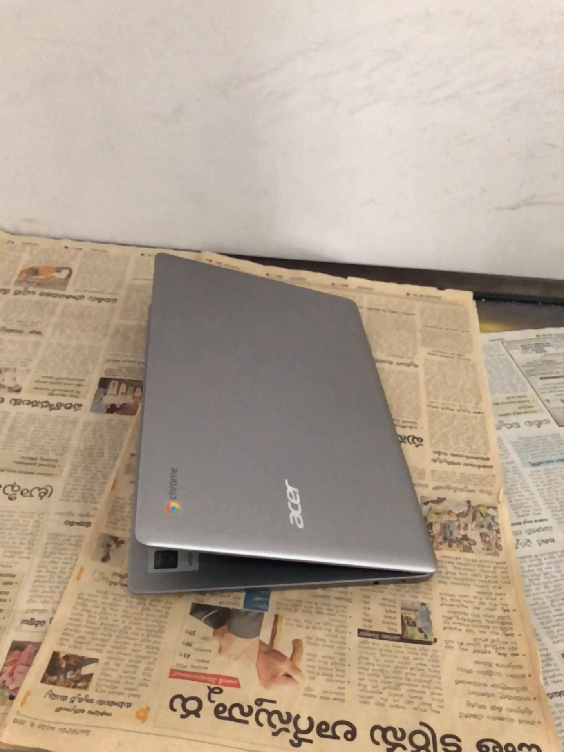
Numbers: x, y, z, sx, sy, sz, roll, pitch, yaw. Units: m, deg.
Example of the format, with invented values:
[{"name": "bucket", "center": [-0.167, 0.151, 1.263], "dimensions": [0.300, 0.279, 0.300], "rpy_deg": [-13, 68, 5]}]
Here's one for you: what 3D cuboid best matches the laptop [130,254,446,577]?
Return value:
[{"name": "laptop", "center": [-0.012, 0.009, 0.554], "dimensions": [0.210, 0.058, 0.332], "rpy_deg": [0, 43, -7]}]
